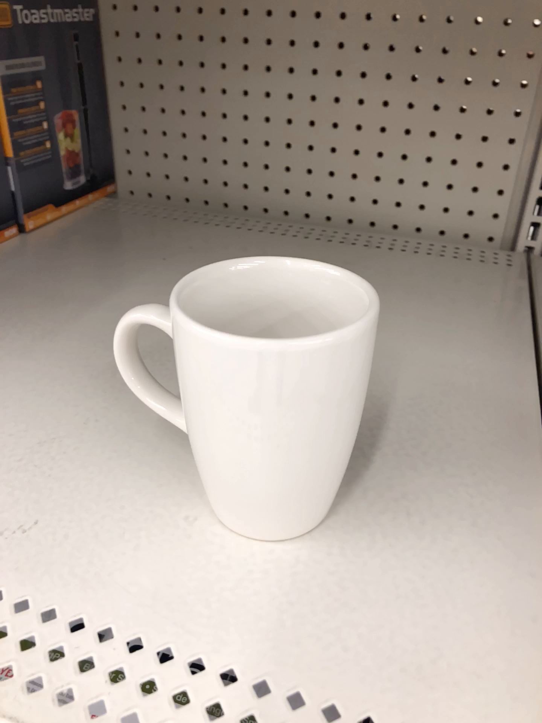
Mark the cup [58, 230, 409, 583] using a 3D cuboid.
[{"bbox_3d":[-0.016,0.012,0.282,0.125,0.105,0.081,18,34,26],"label":"cup"}]
